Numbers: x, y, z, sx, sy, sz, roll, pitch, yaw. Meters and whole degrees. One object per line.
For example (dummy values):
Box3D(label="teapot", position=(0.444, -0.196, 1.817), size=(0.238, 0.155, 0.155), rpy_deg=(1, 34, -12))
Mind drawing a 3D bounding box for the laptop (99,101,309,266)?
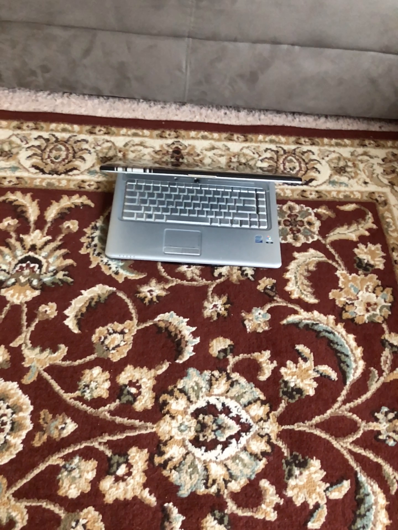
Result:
Box3D(label="laptop", position=(0.006, -0.154, 0.844), size=(0.342, 0.164, 0.244), rpy_deg=(3, 57, -4))
